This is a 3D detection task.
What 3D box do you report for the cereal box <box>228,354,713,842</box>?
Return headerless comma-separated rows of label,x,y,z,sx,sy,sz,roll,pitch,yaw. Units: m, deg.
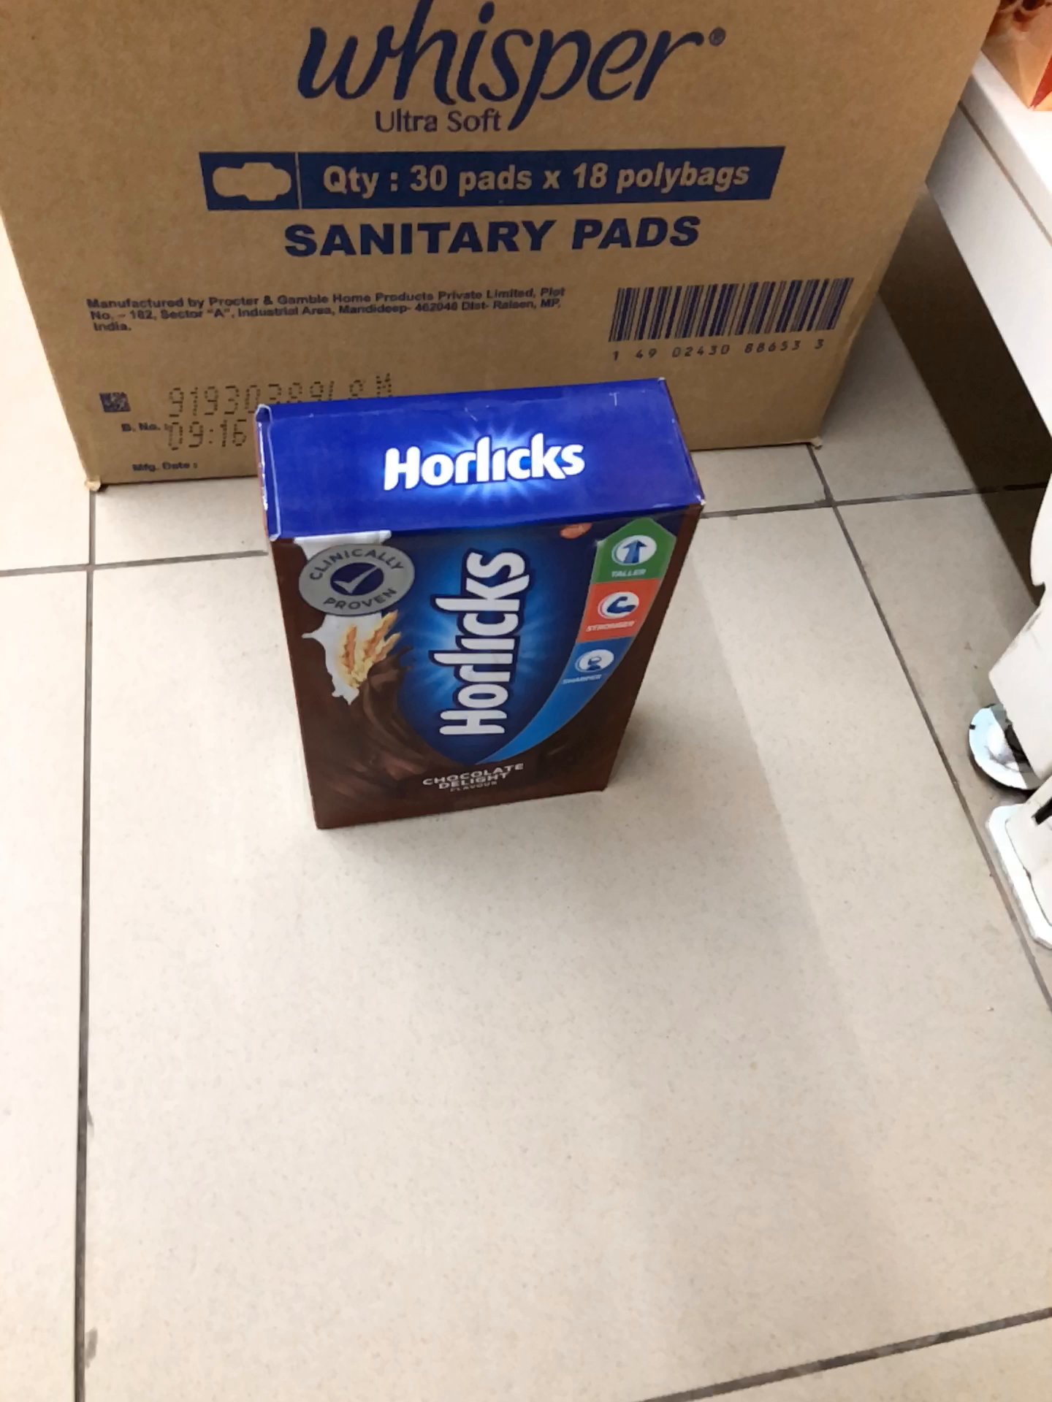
cereal box,-0.026,-0.027,0.435,0.140,0.199,0.060,-6,58,-10
